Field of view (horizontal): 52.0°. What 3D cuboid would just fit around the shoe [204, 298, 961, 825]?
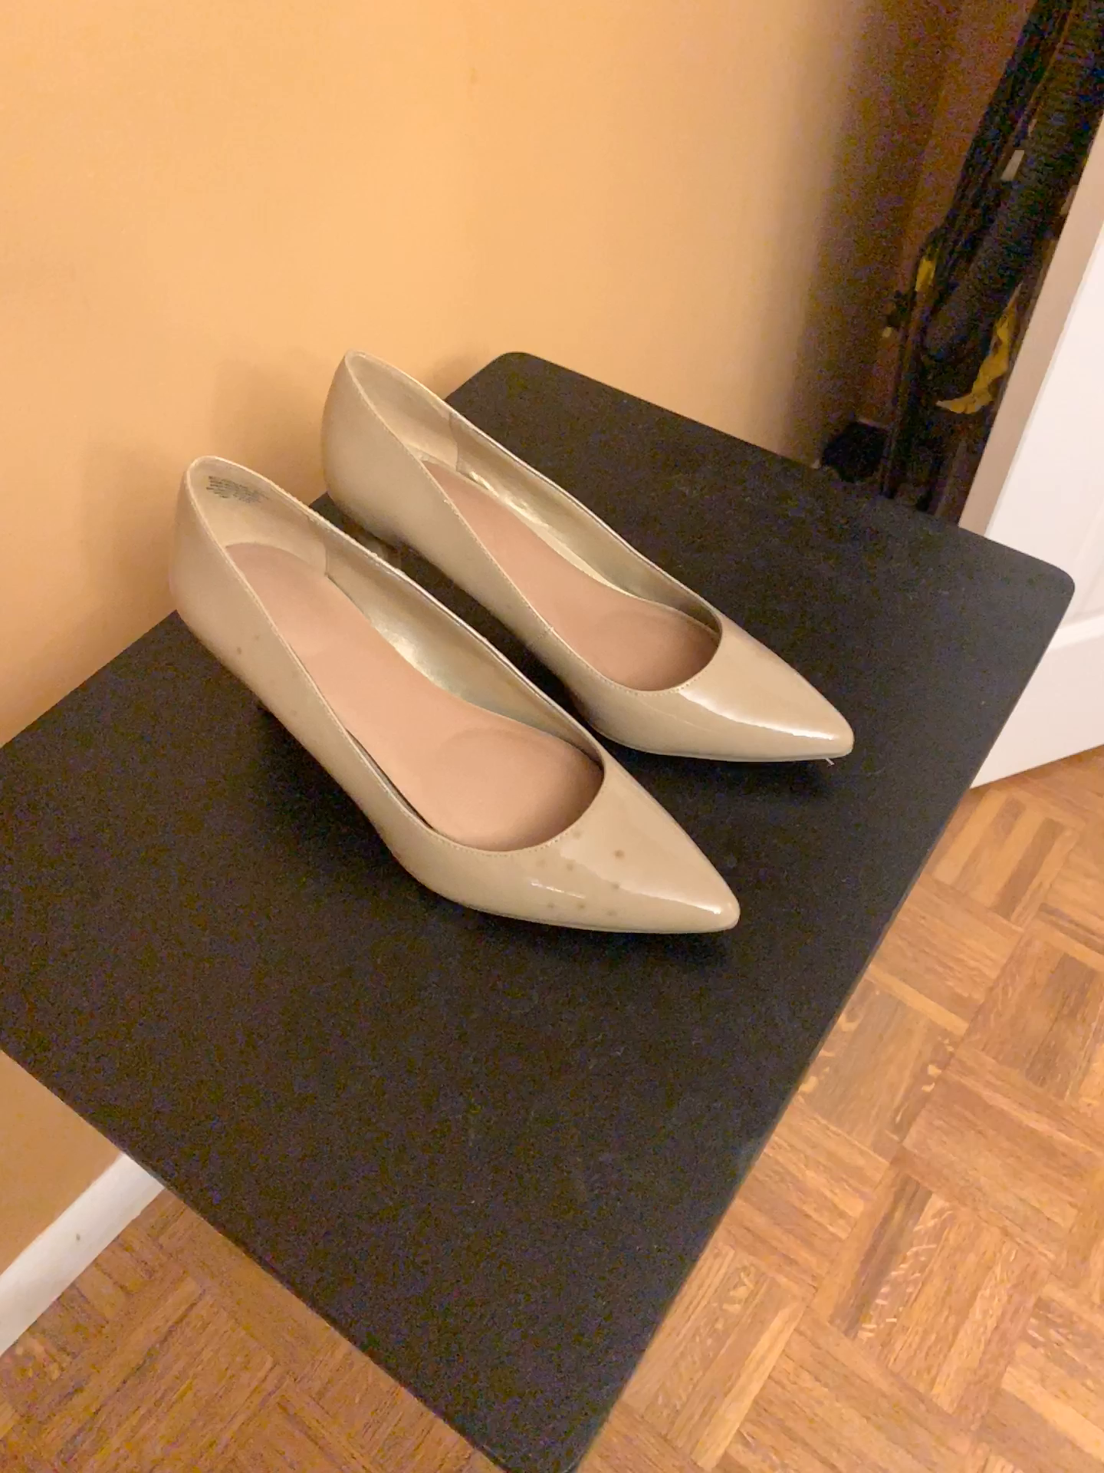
[{"bbox_3d":[0.005,-0.087,0.497,0.300,0.090,0.100,25,55,20],"label":"shoe"}]

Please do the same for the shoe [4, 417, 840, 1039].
[{"bbox_3d":[-0.055,-0.015,0.444,0.300,0.090,0.100,25,55,20],"label":"shoe"}]
